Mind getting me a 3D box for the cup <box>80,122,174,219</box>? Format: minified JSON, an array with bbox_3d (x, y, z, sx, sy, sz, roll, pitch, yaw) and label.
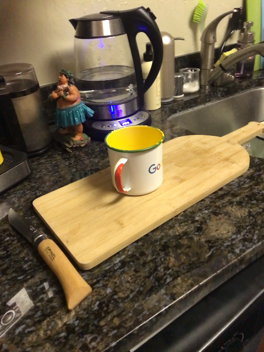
[{"bbox_3d":[0.000,-0.016,0.470,0.100,0.089,0.131,11,36,24],"label":"cup"}]
